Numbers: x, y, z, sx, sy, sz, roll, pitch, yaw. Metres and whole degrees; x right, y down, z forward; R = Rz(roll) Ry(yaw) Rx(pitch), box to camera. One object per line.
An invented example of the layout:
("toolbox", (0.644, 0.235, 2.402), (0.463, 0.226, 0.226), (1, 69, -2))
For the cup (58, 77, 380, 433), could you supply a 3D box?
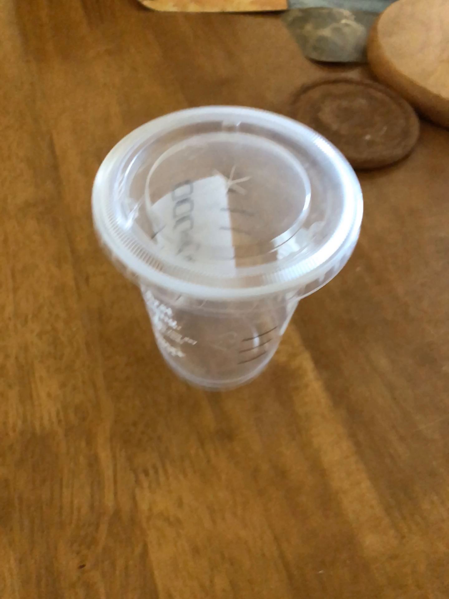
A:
("cup", (0.000, -0.014, 0.210), (0.090, 0.100, 0.100), (5, 55, 1))
